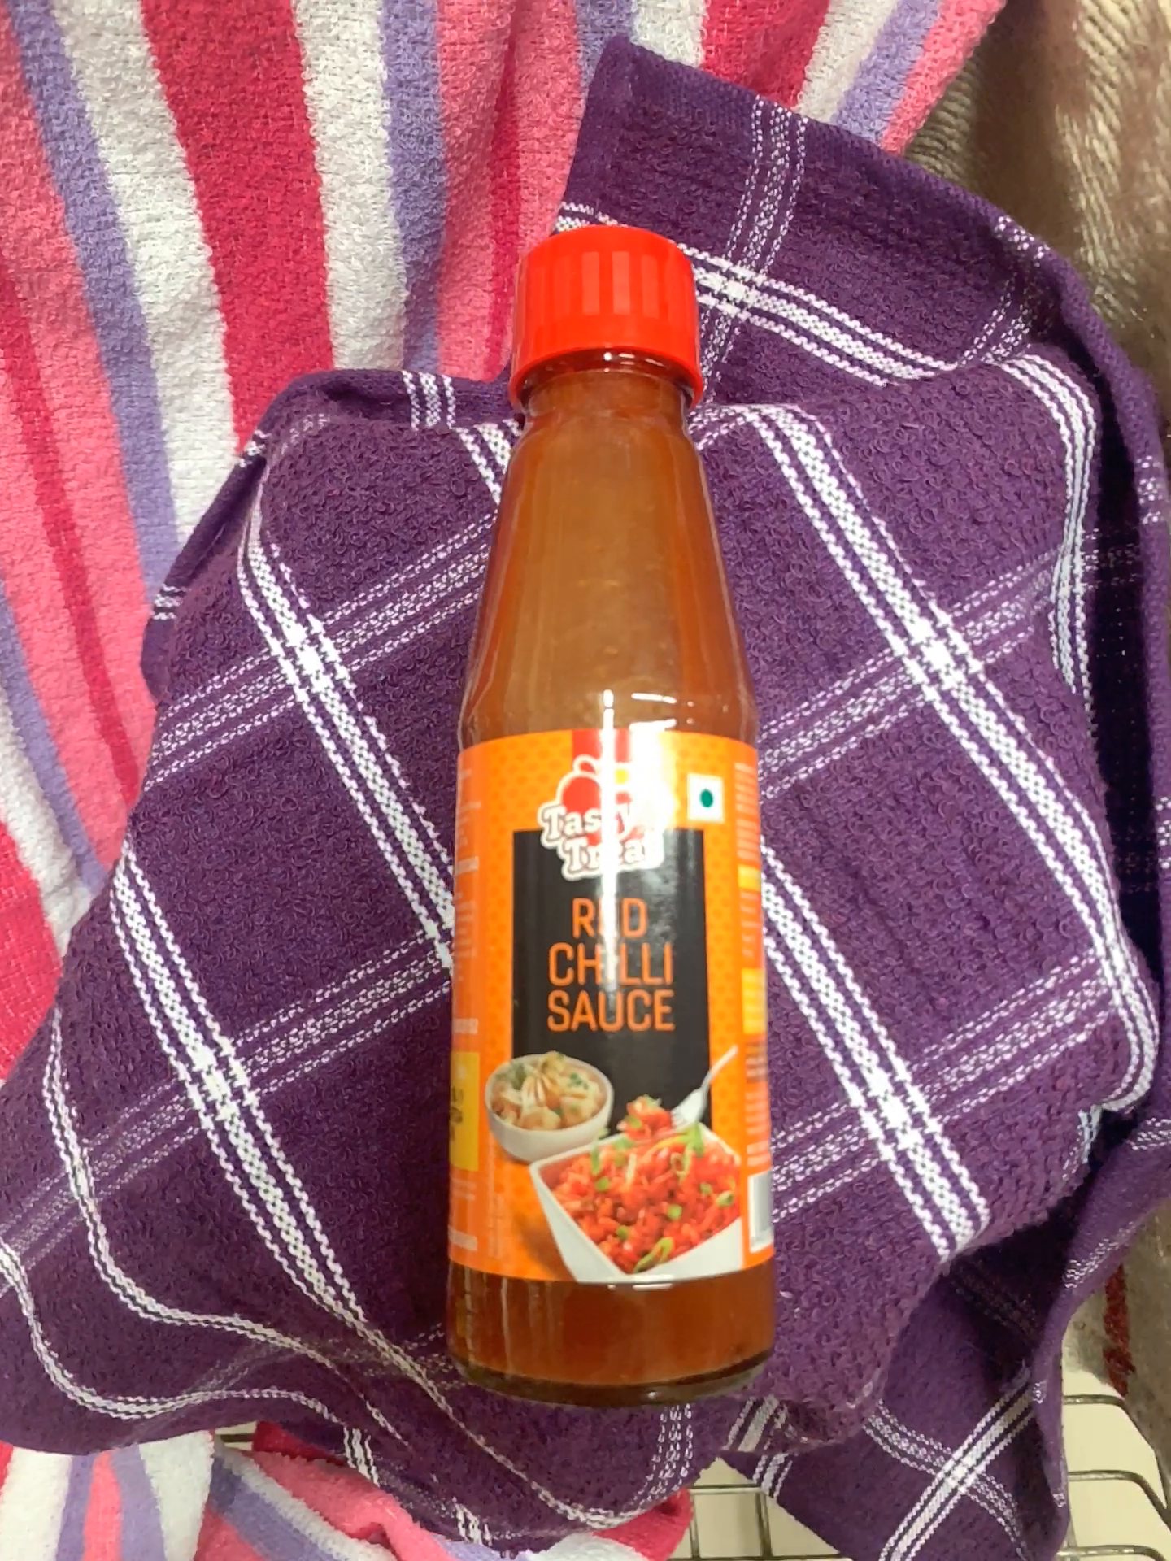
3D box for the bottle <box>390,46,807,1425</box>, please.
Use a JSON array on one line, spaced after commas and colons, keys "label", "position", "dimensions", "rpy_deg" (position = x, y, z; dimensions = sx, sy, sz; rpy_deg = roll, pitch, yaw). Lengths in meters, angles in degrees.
[{"label": "bottle", "position": [0.002, -0.009, 0.178], "dimensions": [0.050, 0.040, 0.180], "rpy_deg": [-3, 82, 7]}]
